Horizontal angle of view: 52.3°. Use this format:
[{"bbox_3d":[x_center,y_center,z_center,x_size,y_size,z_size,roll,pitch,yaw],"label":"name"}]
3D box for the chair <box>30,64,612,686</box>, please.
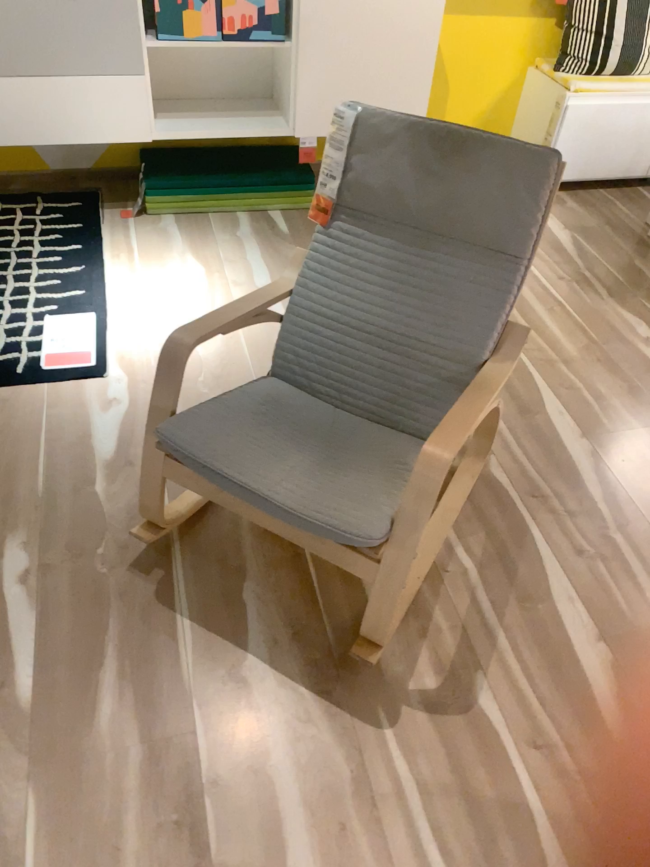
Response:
[{"bbox_3d":[0.015,-0.137,1.444,0.731,0.917,0.722,24,48,17],"label":"chair"}]
